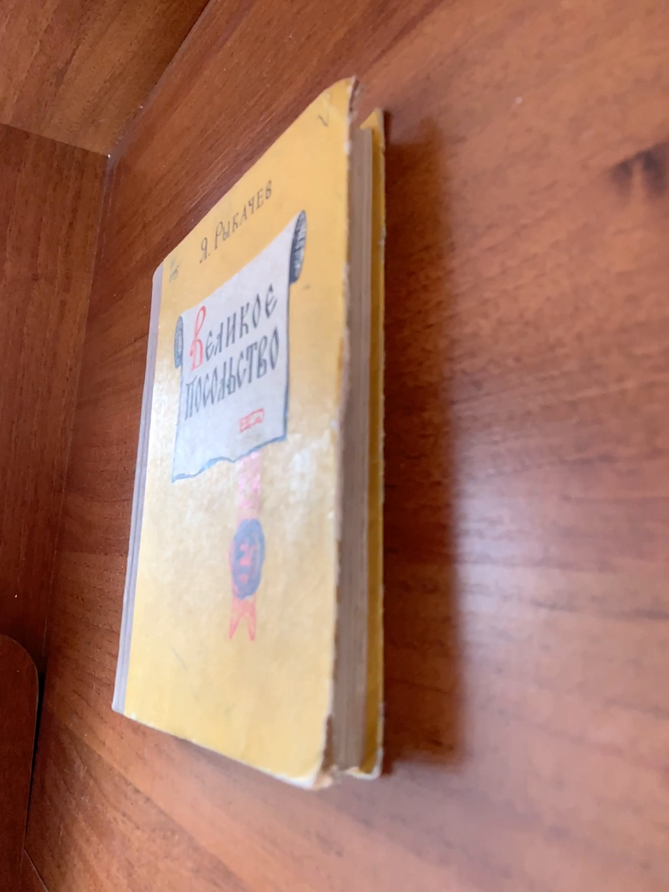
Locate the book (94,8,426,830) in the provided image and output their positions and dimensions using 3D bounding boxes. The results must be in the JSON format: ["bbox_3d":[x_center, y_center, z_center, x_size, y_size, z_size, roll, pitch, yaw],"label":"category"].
[{"bbox_3d":[-0.030,-0.004,0.203,0.142,0.023,0.170,-15,70,54],"label":"book"}]
